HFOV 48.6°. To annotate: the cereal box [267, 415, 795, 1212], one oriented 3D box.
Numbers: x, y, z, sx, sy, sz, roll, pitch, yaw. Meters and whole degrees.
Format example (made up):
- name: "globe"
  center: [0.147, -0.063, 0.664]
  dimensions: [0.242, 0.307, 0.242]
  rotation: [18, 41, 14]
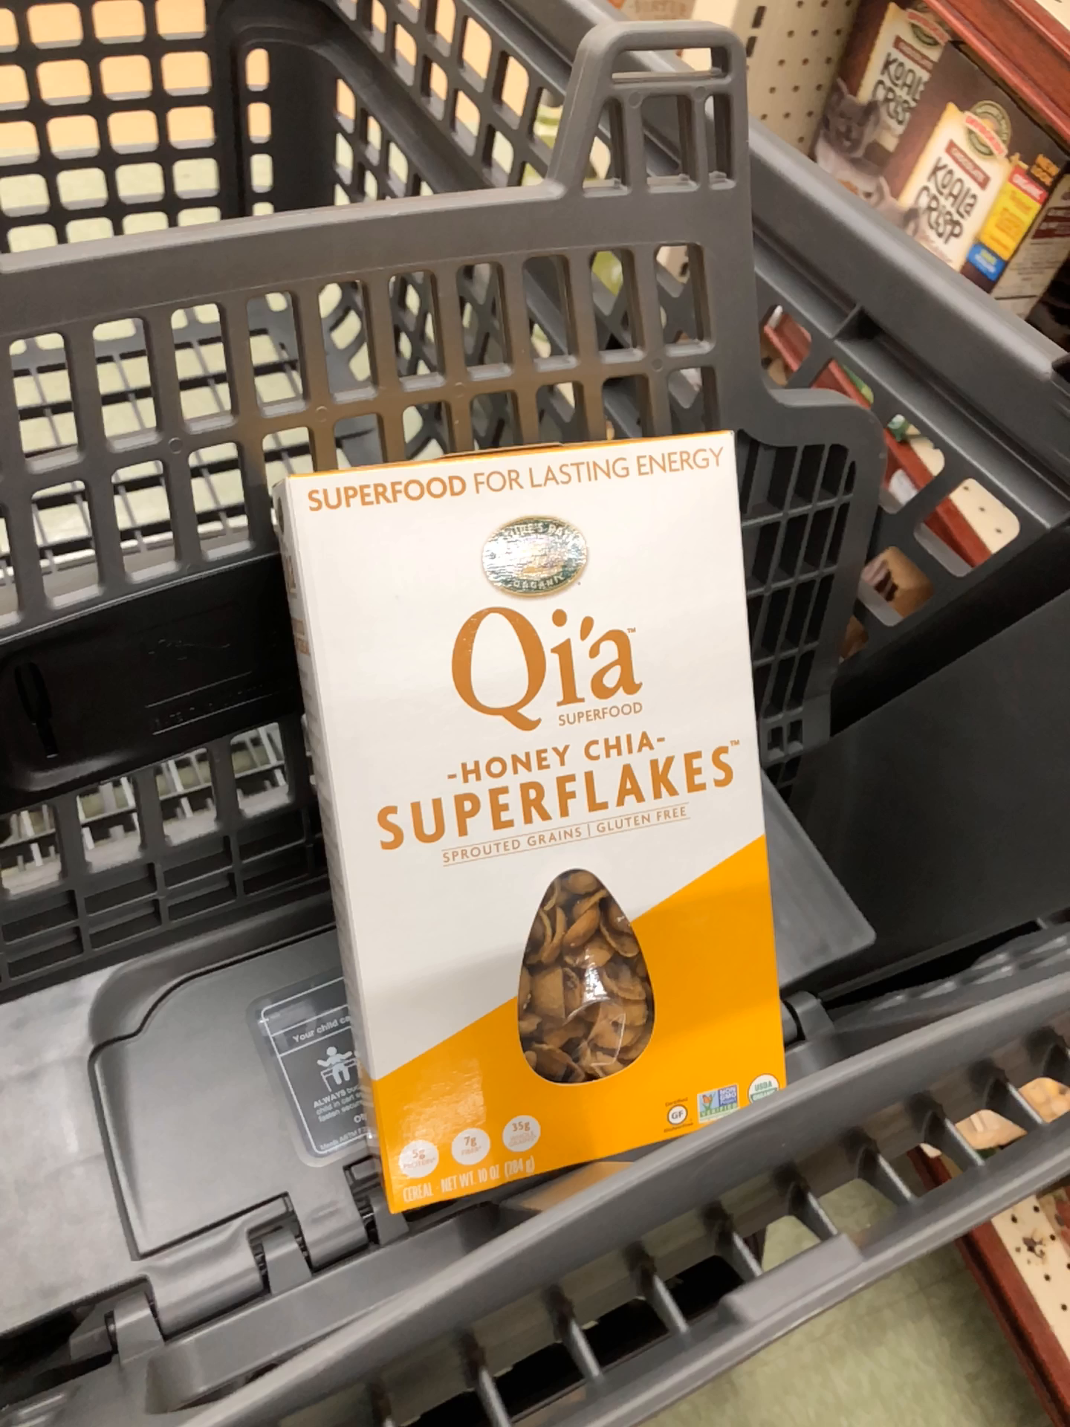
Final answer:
- name: "cereal box"
  center: [0.000, 0.030, 0.448]
  dimensions: [0.160, 0.070, 0.260]
  rotation: [-8, 99, -16]
